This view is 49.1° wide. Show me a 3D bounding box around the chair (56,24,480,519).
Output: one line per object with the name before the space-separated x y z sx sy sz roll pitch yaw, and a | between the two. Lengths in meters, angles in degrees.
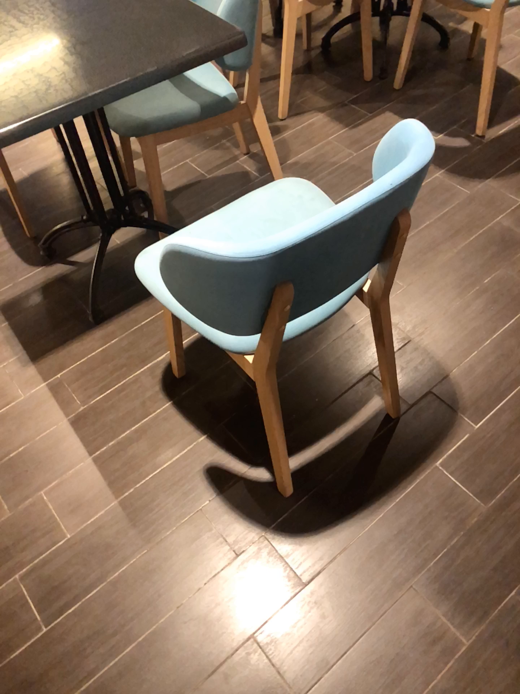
chair | 0.019 -0.117 1.246 0.481 0.817 0.511 -32 56 -19
